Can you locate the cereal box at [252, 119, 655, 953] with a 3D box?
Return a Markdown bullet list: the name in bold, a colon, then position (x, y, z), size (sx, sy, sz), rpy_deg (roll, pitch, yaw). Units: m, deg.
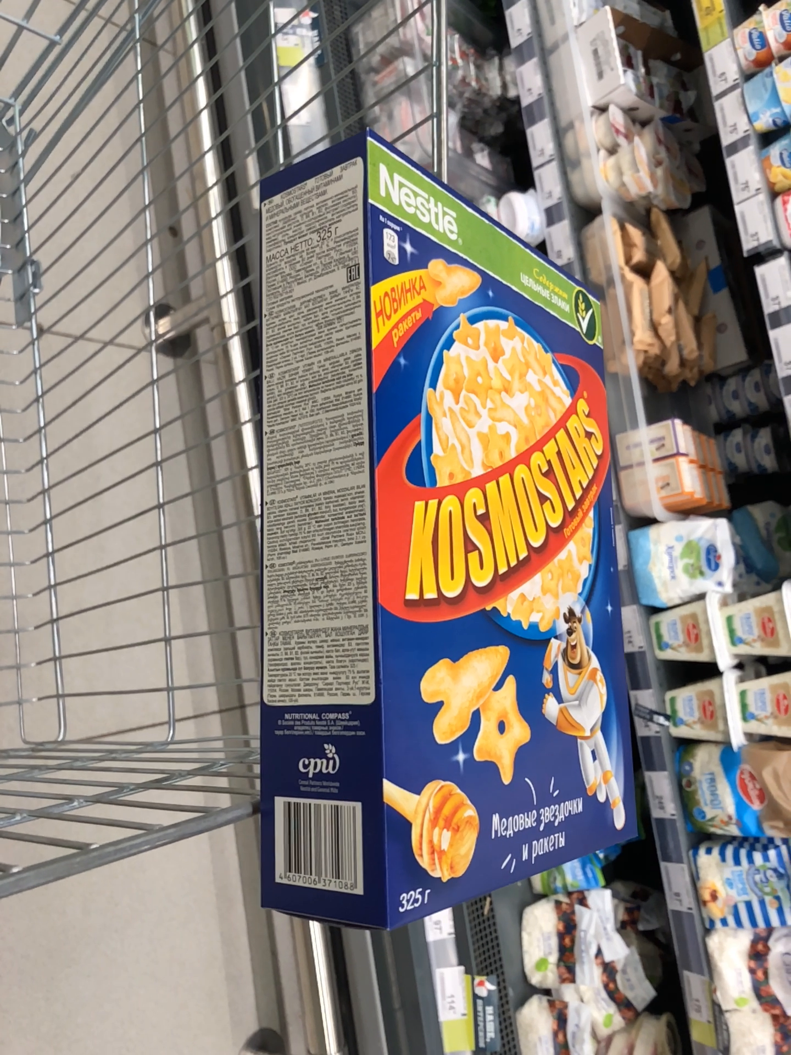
- **cereal box**: position (0.033, 0.006, 0.385), size (0.201, 0.060, 0.280), rpy_deg (10, 74, -50)
